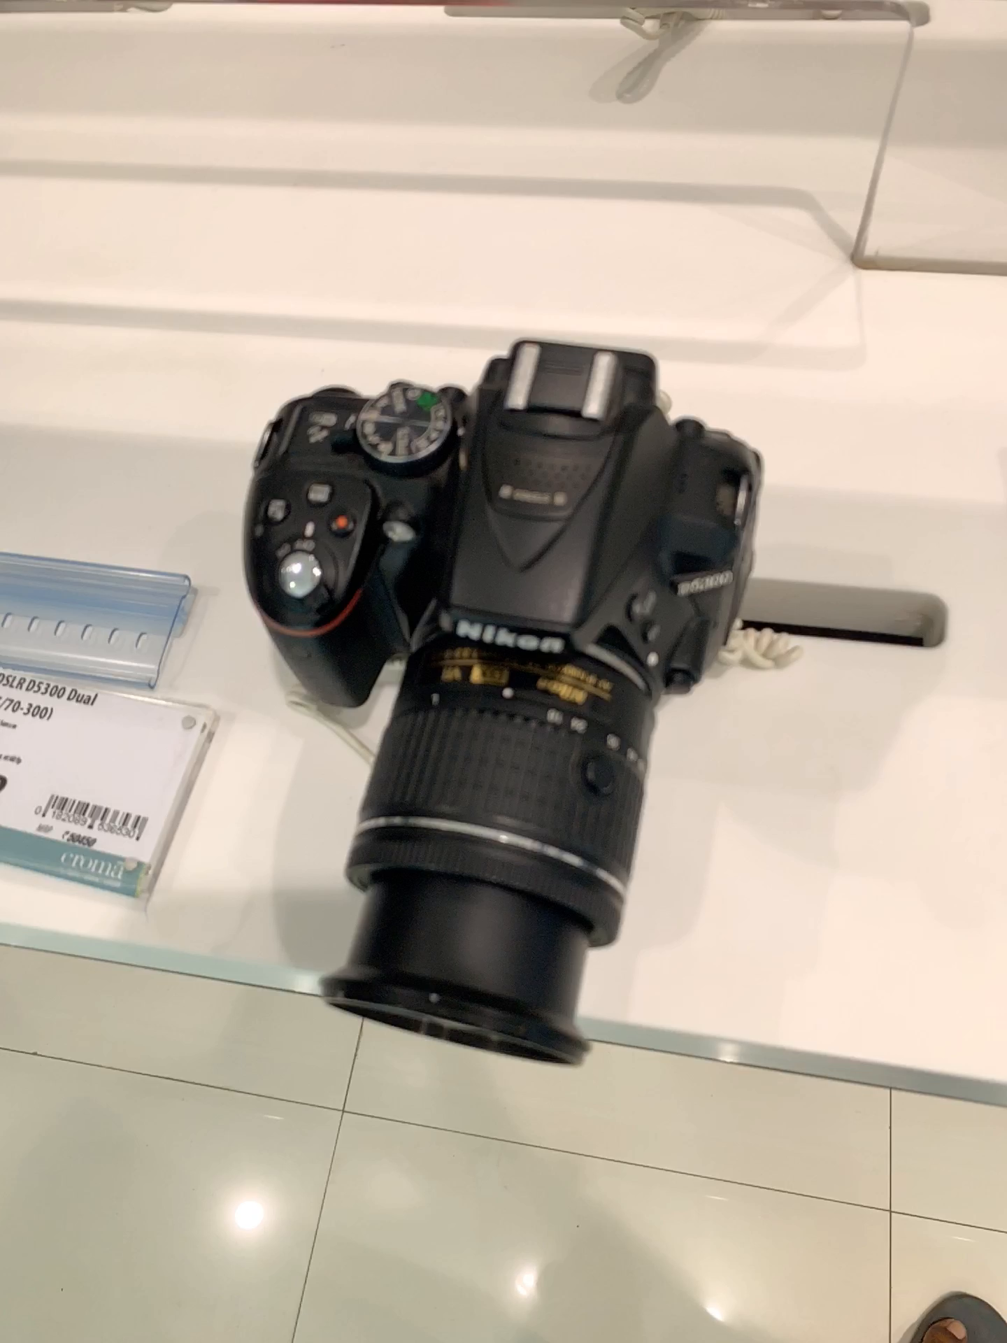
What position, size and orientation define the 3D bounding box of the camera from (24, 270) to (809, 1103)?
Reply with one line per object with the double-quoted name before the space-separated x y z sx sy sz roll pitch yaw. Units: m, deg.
"camera" -0.003 0.007 0.235 0.110 0.110 0.140 10 64 11
